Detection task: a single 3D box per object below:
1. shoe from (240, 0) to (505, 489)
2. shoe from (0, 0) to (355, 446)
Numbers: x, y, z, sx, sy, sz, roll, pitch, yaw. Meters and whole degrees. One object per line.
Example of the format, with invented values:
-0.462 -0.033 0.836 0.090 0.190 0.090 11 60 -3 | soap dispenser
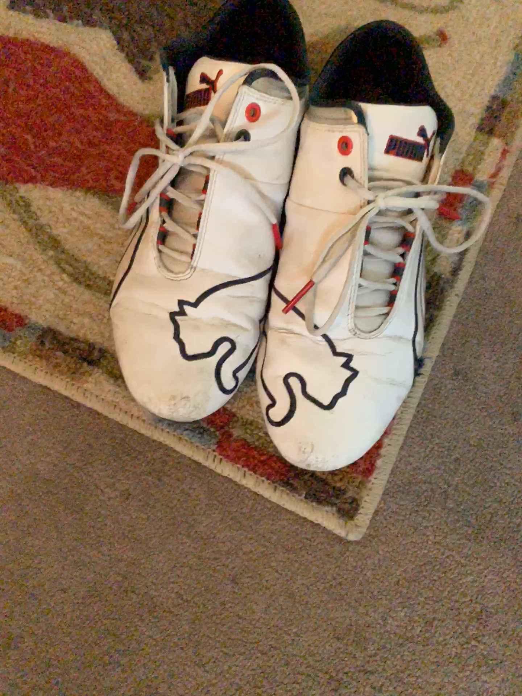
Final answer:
0.065 -0.080 0.316 0.100 0.107 0.291 10 69 2 | shoe
-0.030 -0.104 0.325 0.100 0.107 0.291 14 69 3 | shoe
